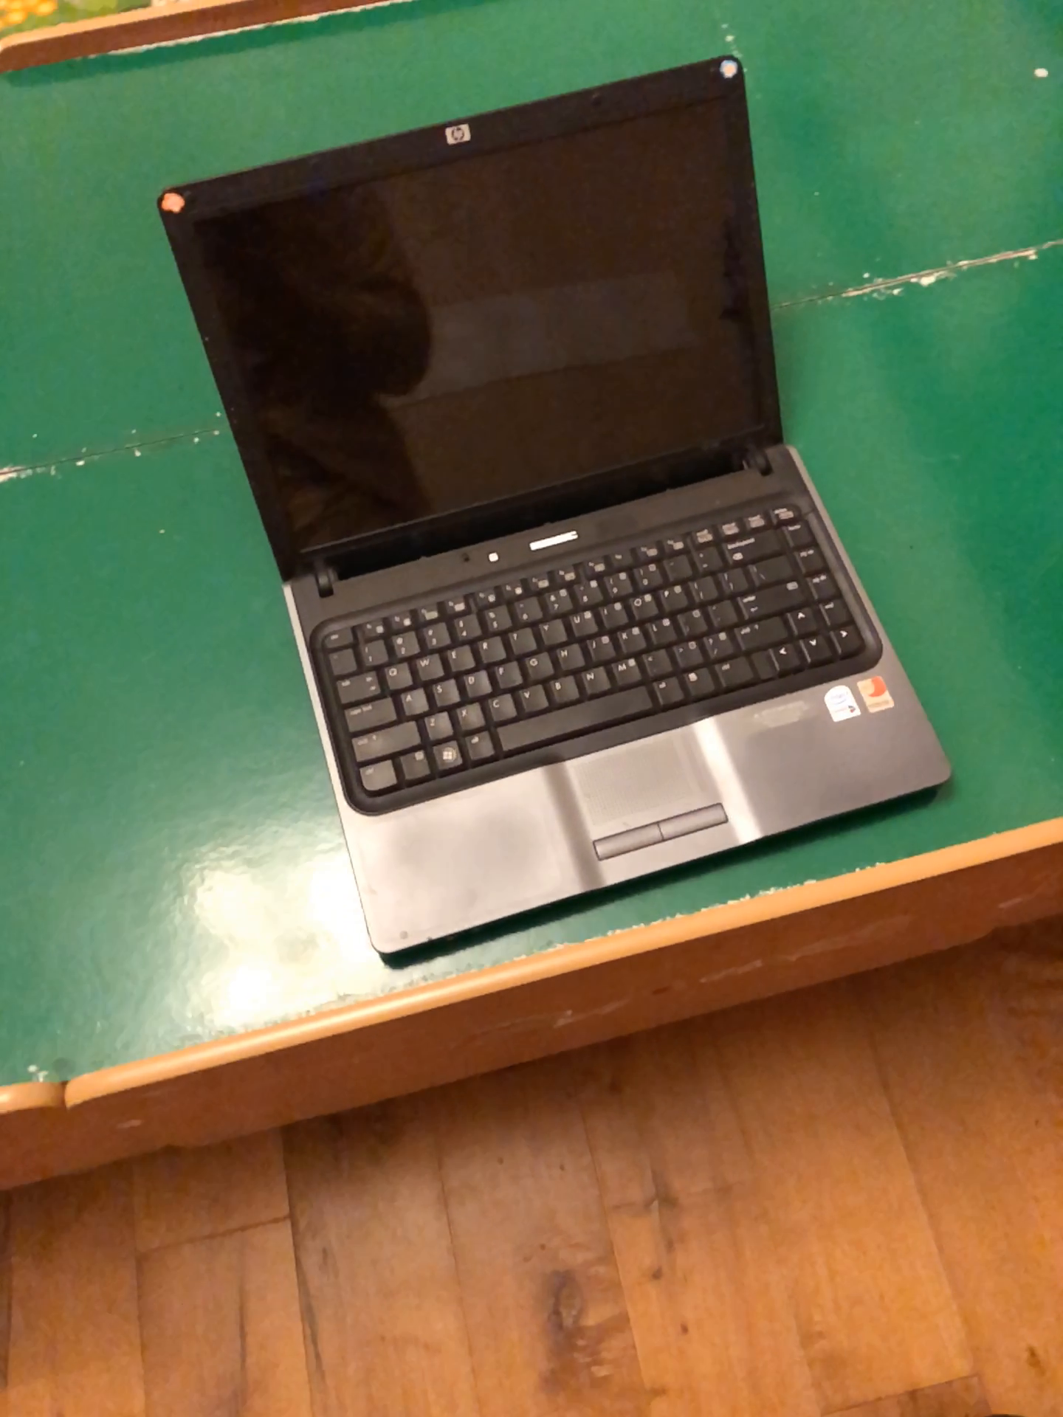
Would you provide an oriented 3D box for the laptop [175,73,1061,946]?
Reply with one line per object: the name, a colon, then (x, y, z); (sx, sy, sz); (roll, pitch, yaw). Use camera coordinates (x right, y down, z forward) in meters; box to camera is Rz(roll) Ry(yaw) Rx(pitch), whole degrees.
laptop: (0.020, -0.115, 0.637); (0.323, 0.173, 0.375); (-16, 65, -5)
